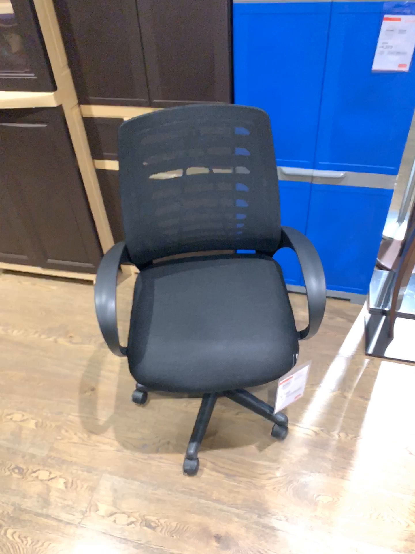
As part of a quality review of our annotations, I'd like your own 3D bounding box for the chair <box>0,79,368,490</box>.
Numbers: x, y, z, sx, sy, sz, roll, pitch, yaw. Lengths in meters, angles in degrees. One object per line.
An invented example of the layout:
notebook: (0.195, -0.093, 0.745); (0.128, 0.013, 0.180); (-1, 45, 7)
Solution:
chair: (-0.027, 0.073, 1.226); (0.600, 0.996, 0.602); (-4, 41, 1)
